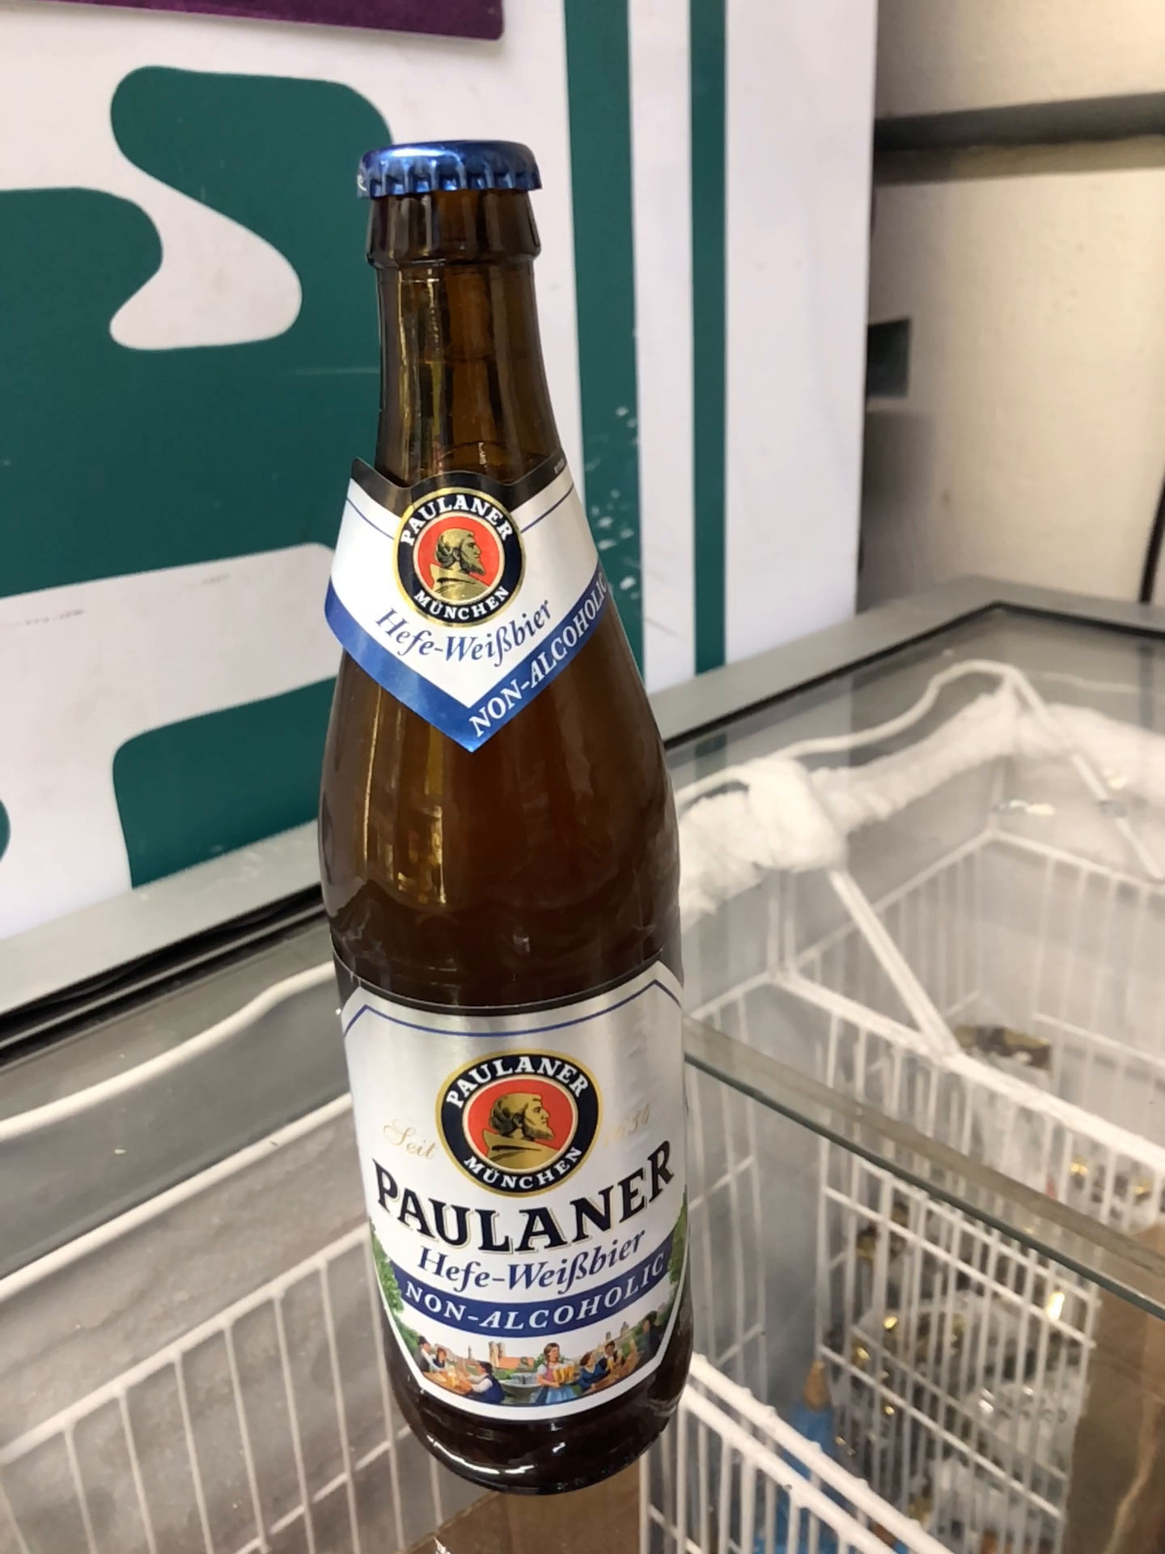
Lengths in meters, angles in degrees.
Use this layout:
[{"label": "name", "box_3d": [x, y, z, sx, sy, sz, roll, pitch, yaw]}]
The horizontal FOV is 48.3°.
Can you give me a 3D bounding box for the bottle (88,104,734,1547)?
[{"label": "bottle", "box_3d": [-0.015, 0.021, 0.239, 0.080, 0.248, 0.070, -2, 22, 2]}]
